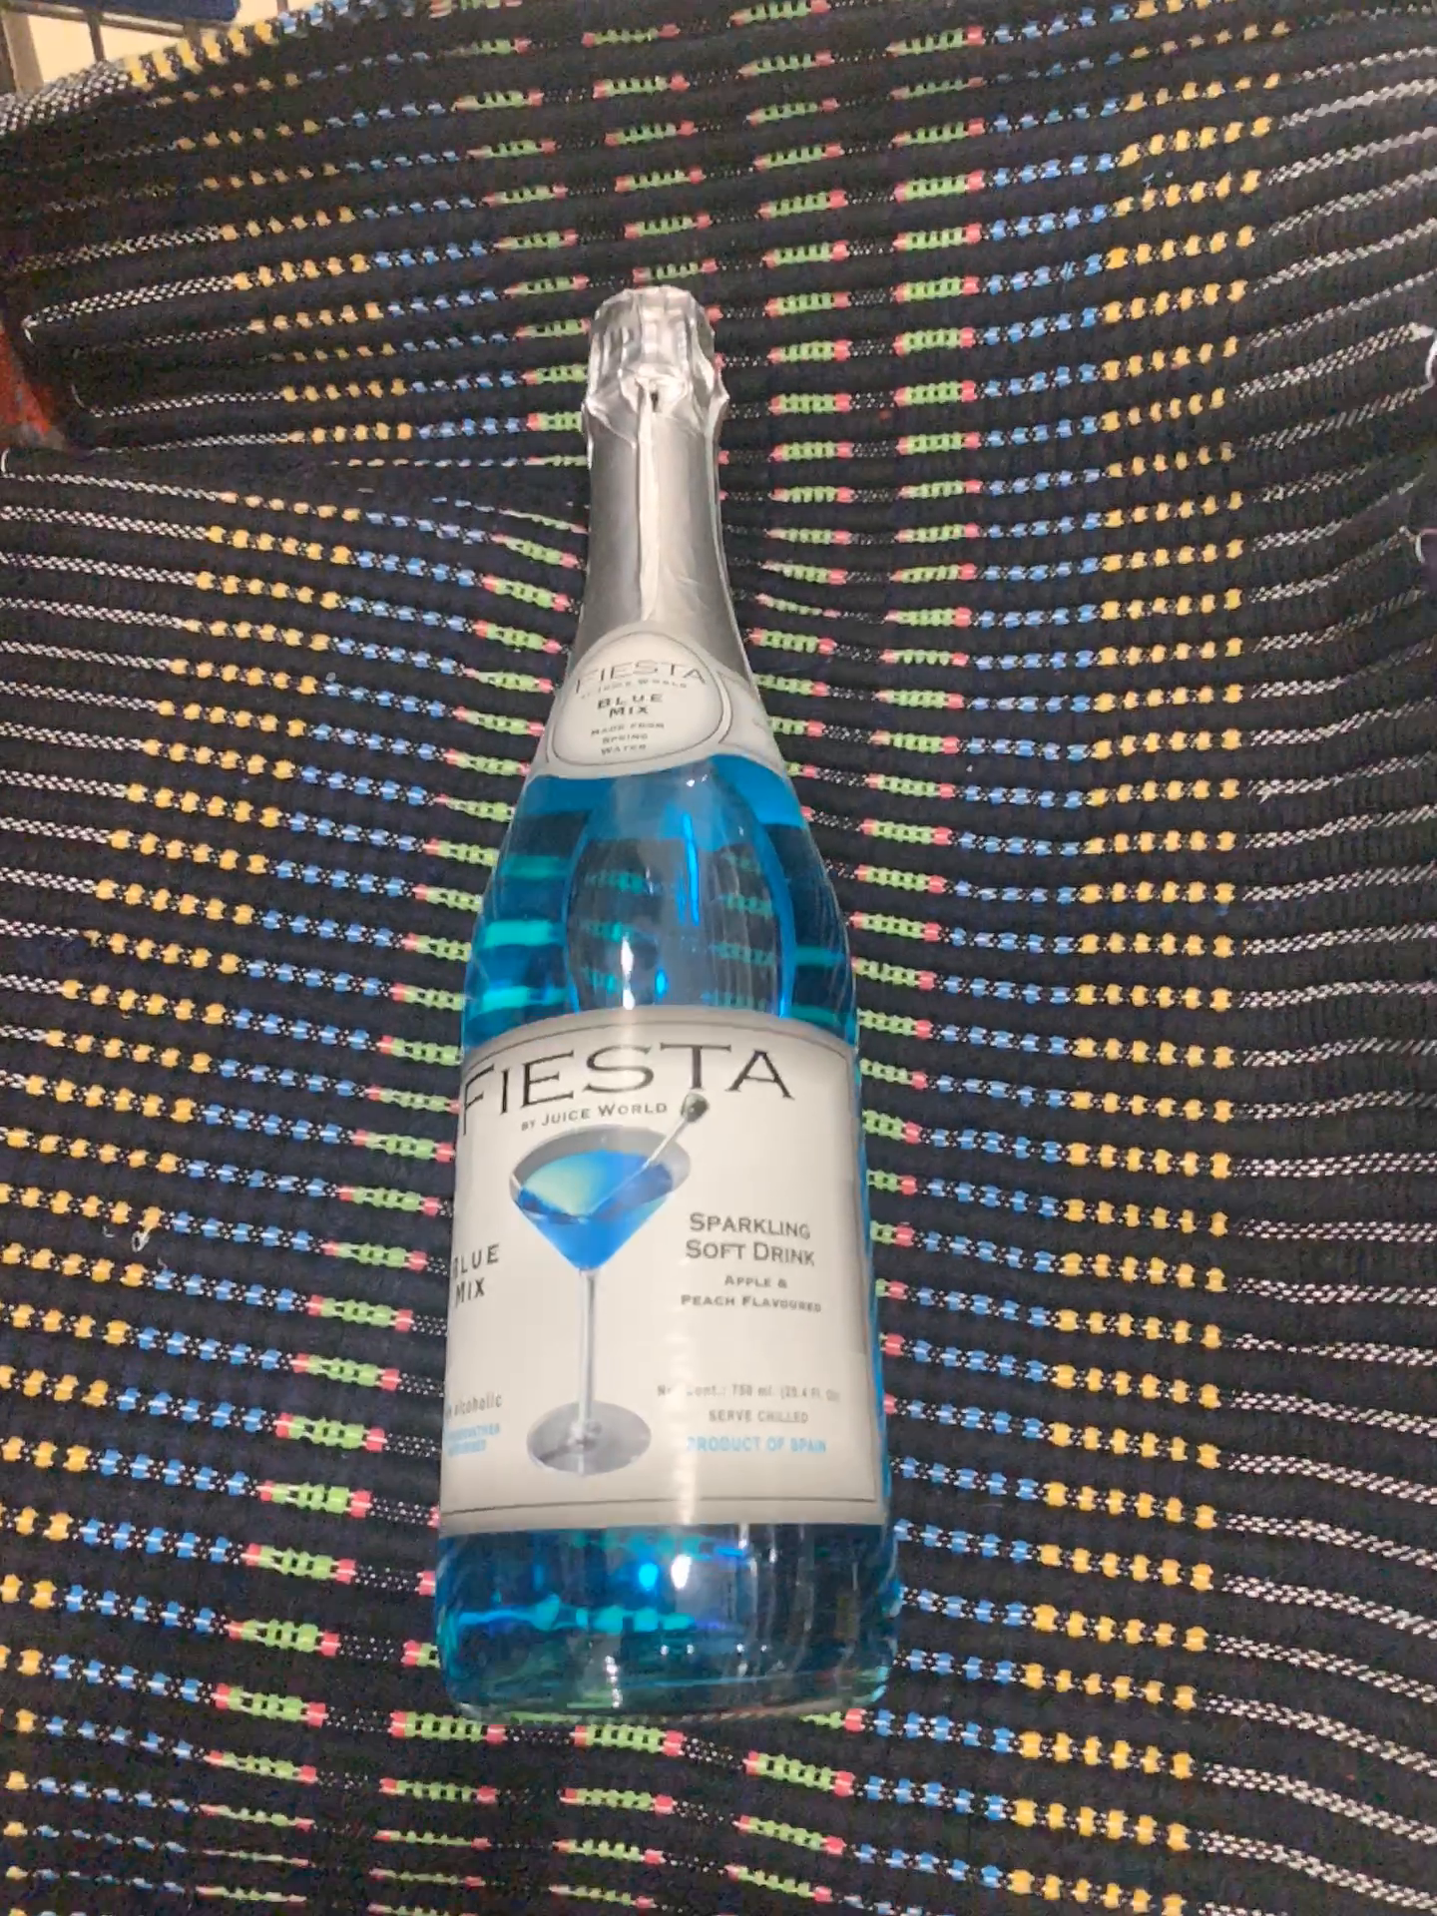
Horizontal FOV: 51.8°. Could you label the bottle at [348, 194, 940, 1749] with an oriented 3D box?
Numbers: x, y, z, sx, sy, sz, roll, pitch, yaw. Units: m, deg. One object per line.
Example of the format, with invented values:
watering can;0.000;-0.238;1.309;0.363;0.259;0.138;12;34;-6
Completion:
bottle;-0.009;-0.008;0.323;0.080;0.100;0.311;-6;65;11
